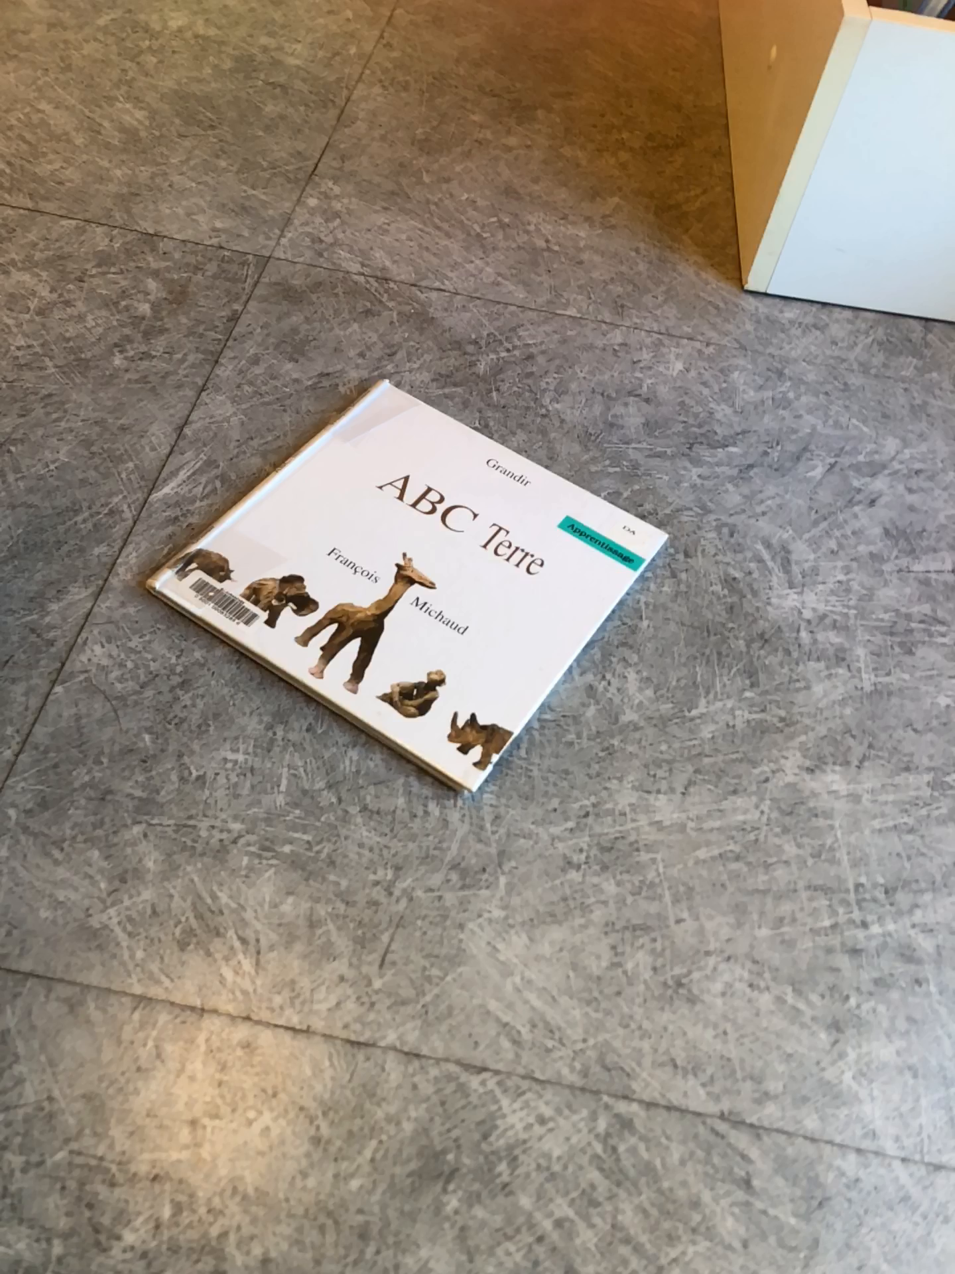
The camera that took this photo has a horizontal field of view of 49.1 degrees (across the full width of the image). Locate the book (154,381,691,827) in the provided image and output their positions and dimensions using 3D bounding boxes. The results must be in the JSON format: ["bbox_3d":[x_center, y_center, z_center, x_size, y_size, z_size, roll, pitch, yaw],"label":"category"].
[{"bbox_3d":[-0.022,-0.032,0.543,0.200,0.020,0.195,31,56,14],"label":"book"}]
